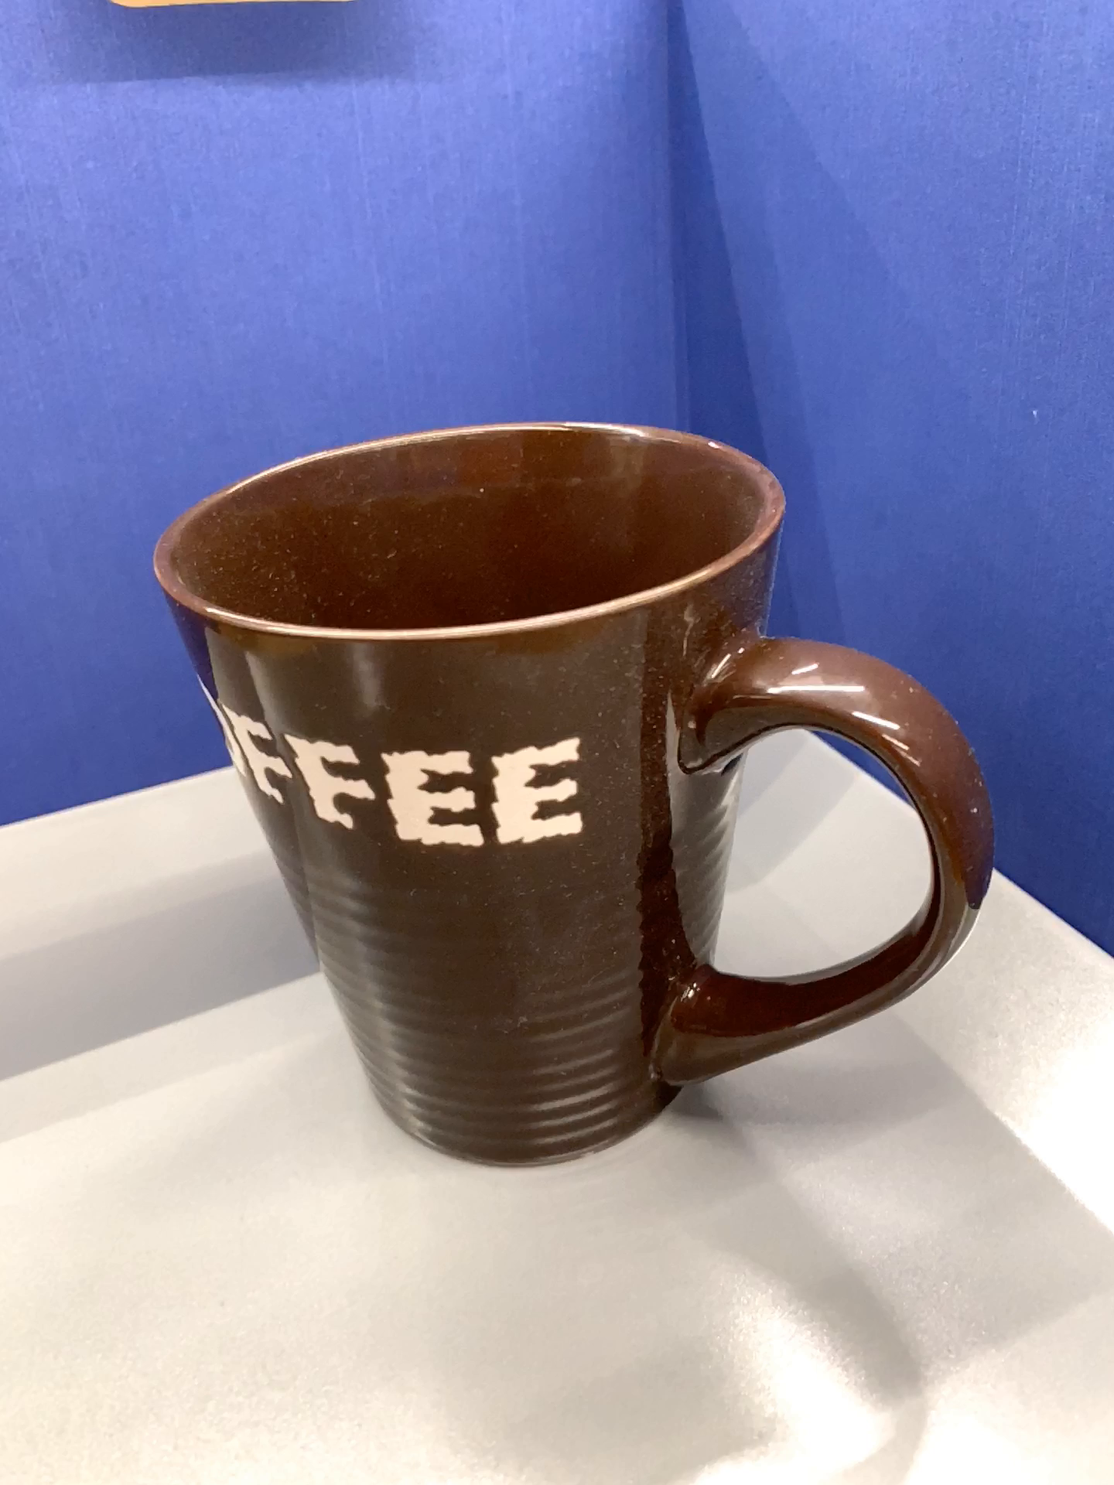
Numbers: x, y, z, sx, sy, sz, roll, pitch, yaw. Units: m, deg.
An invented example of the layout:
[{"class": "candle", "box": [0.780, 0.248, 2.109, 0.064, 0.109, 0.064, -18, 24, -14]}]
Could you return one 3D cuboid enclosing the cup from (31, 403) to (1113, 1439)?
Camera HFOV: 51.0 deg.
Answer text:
[{"class": "cup", "box": [0.008, 0.010, 0.186, 0.128, 0.098, 0.089, 14, 34, 31]}]
